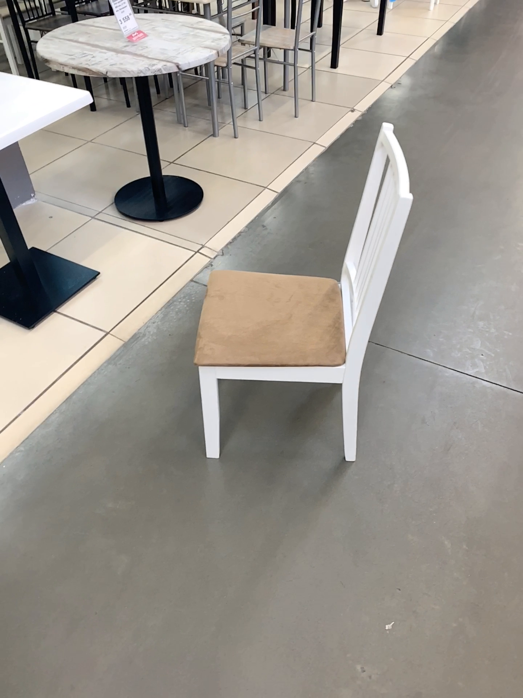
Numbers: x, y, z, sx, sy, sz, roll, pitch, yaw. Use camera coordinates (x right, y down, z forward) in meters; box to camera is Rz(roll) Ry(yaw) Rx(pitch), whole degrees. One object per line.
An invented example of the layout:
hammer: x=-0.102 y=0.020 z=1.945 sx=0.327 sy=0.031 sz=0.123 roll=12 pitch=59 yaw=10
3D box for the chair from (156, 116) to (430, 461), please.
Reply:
chair: x=0.069 y=-0.116 z=1.402 sx=0.500 sy=0.816 sz=0.402 roll=1 pitch=44 yaw=2
